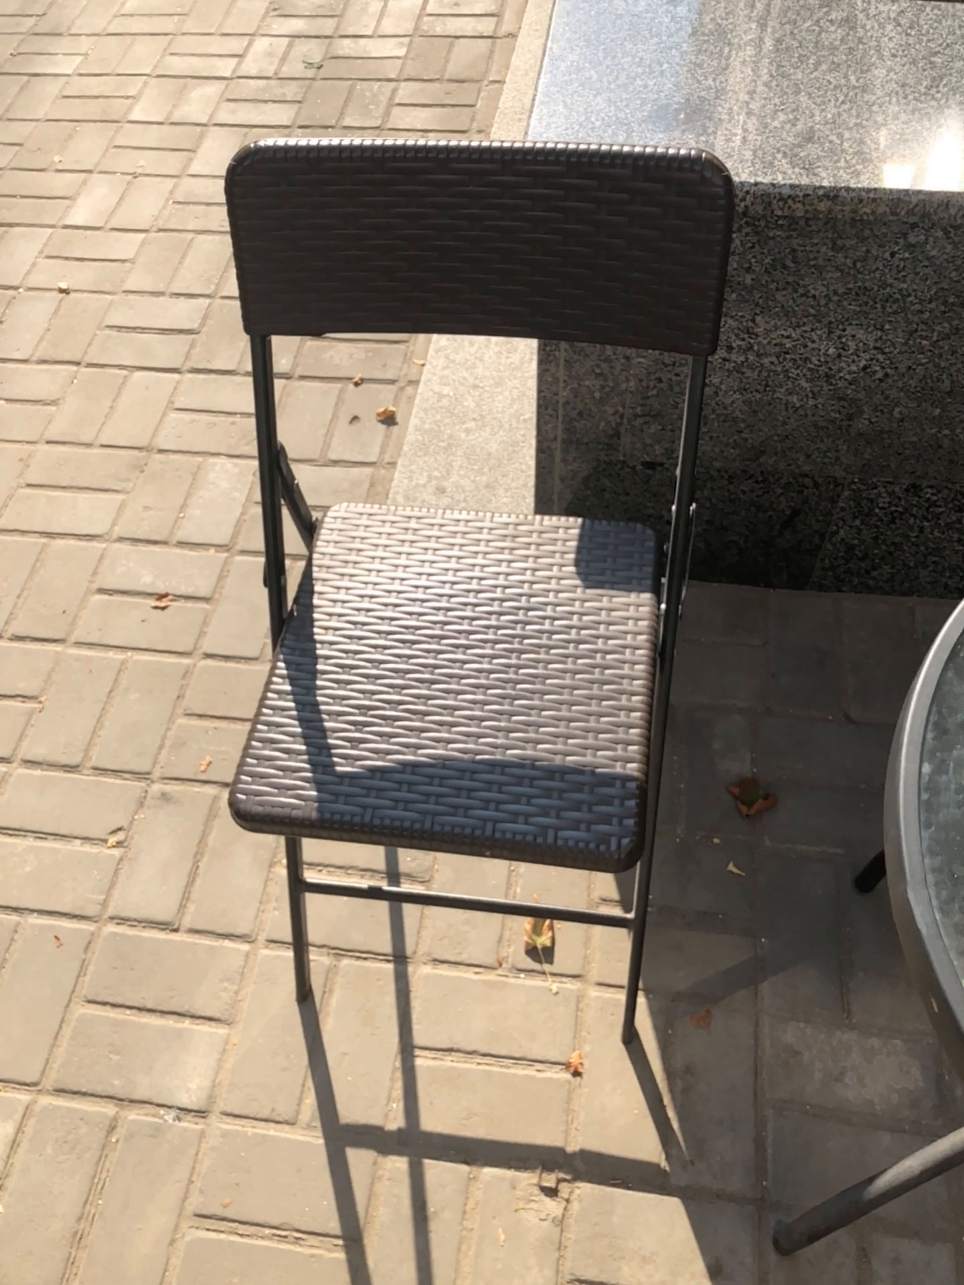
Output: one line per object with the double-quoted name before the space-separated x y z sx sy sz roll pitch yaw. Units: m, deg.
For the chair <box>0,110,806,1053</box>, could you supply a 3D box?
"chair" -0.017 0.004 1.012 0.450 0.748 0.511 5 55 5
